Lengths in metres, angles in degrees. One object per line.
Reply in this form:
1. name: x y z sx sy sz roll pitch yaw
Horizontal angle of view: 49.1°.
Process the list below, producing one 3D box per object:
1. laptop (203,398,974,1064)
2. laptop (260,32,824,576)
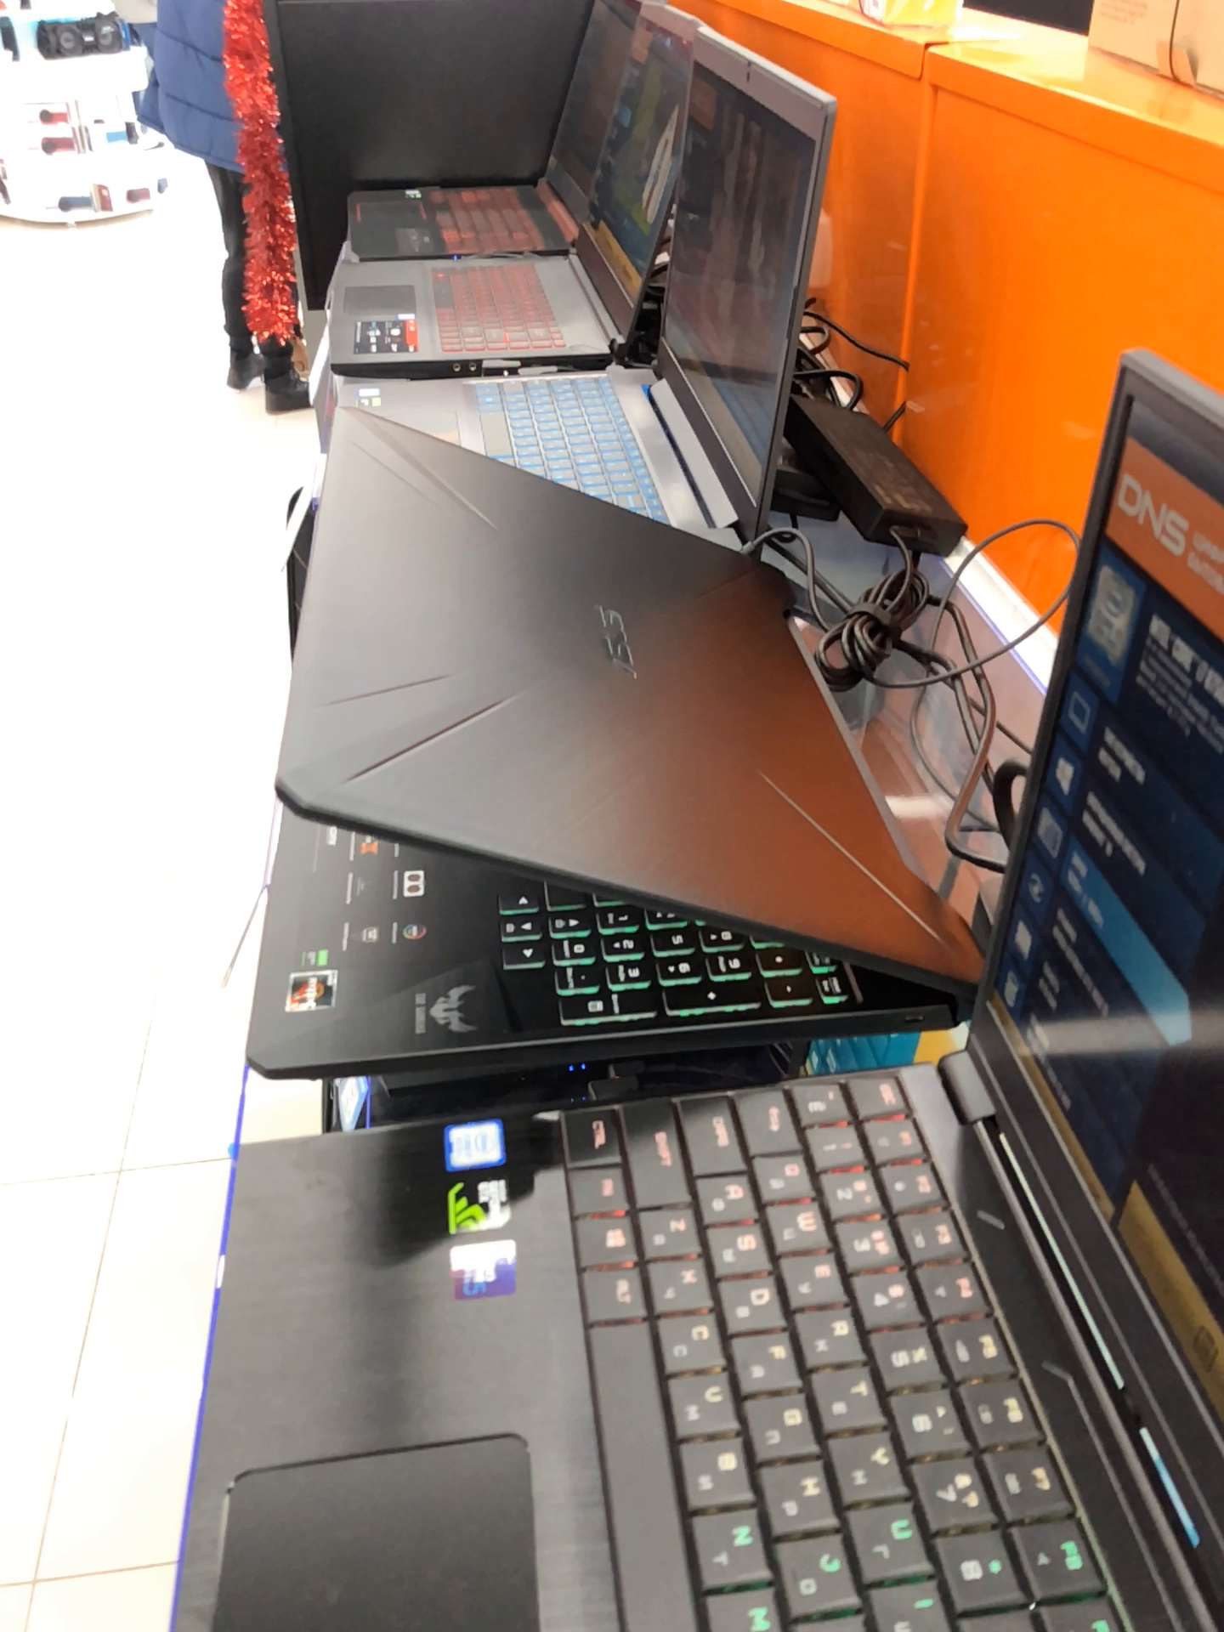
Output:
1. laptop: -0.029 -0.068 0.584 0.239 0.107 0.348 -5 35 -6
2. laptop: -0.050 -0.355 0.877 0.282 0.235 0.358 -5 35 -6
